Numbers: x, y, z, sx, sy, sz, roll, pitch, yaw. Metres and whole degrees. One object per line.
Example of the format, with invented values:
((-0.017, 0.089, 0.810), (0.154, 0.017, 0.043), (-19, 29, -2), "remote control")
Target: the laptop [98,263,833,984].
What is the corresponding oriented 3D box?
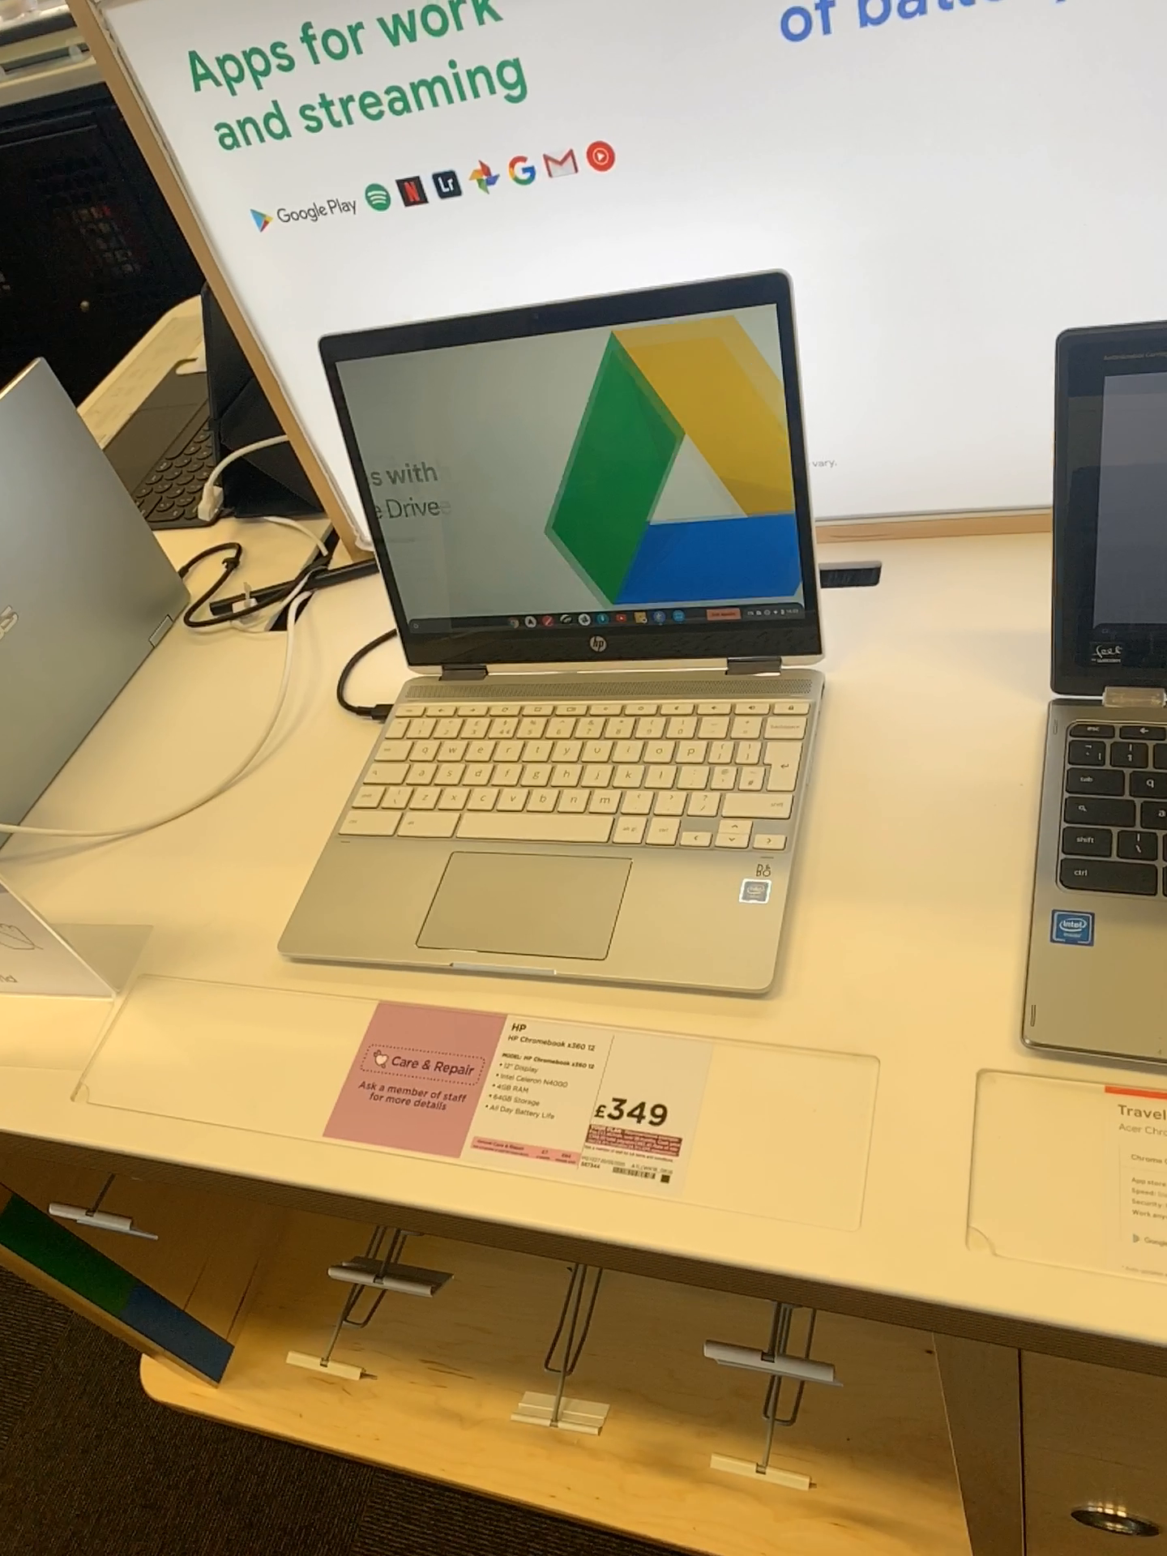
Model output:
((-0.030, -0.077, 0.604), (0.258, 0.190, 0.271), (1, 50, 22), "laptop")
